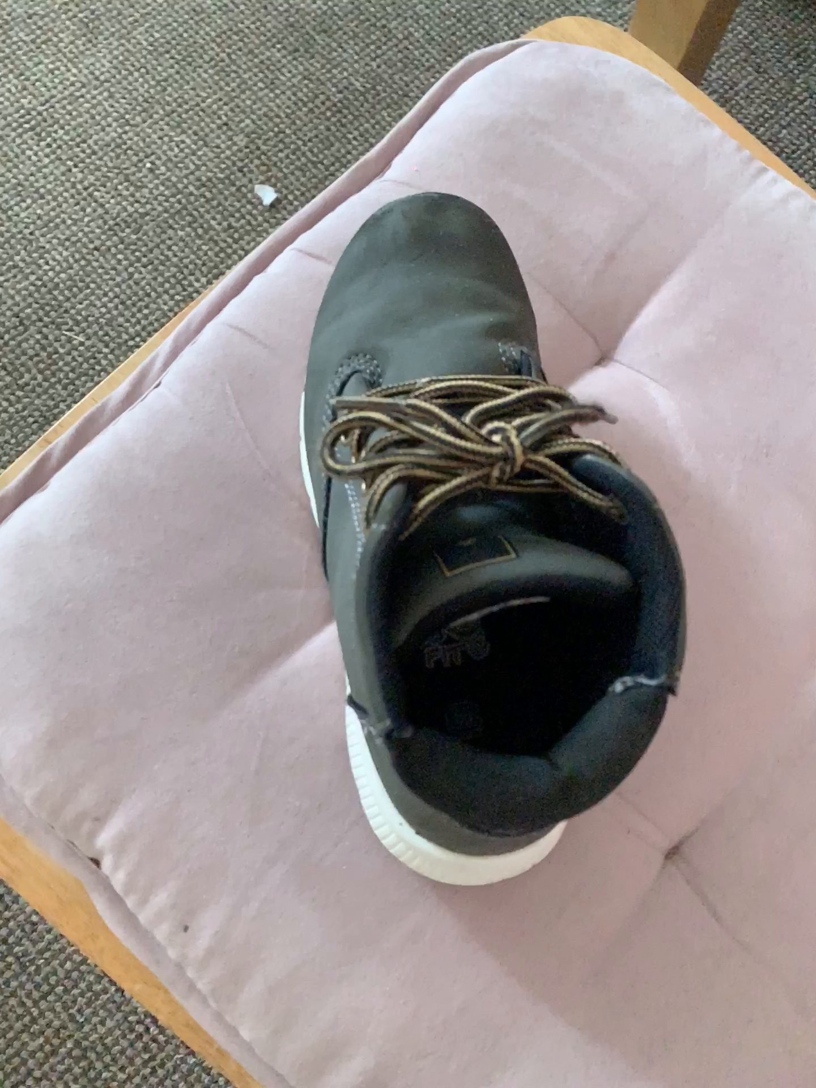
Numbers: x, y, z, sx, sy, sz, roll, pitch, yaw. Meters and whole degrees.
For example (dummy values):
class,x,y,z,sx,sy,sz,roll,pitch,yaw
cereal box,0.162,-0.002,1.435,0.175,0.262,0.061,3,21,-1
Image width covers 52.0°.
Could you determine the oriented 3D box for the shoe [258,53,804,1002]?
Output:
class,x,y,z,sx,sy,sz,roll,pitch,yaw
shoe,0.019,-0.006,0.266,0.100,0.130,0.231,-6,76,-4
